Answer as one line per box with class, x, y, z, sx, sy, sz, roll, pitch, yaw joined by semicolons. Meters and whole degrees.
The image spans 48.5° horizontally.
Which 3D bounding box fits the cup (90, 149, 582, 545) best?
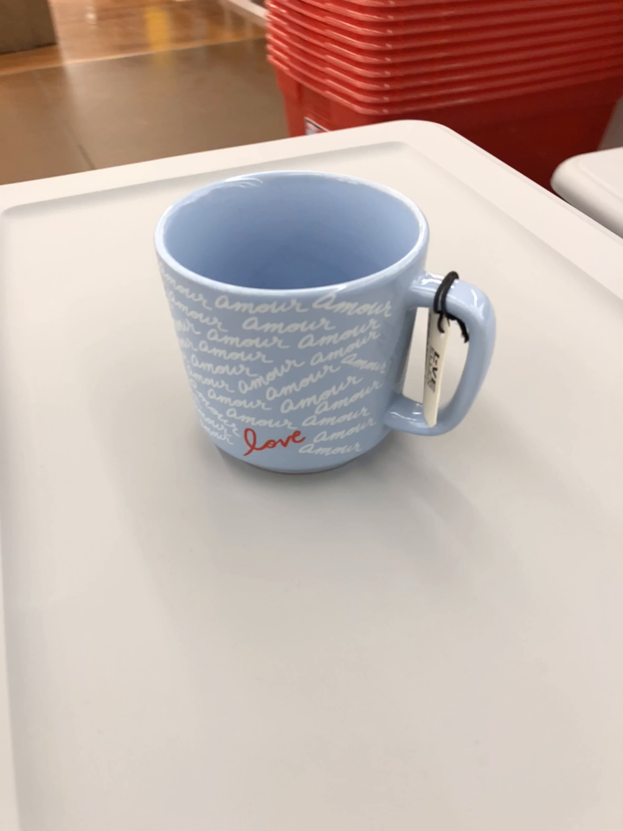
cup;0.013;-0.035;0.262;0.140;0.080;0.100;15;44;19
